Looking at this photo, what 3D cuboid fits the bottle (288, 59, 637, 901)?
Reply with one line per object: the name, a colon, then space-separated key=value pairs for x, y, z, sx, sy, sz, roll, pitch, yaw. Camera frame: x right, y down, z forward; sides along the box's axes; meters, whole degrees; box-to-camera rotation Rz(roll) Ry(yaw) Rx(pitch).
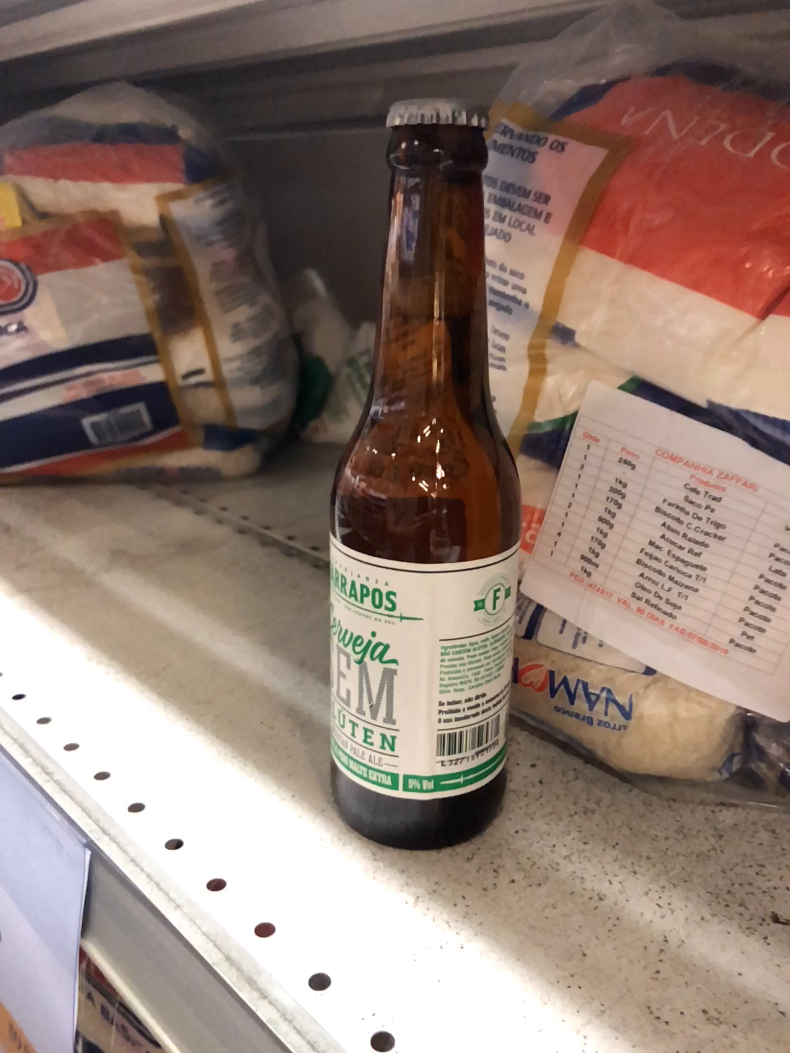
bottle: x=0.016 y=-0.010 z=0.273 sx=0.060 sy=0.228 sz=0.070 roll=-17 pitch=27 yaw=-40
